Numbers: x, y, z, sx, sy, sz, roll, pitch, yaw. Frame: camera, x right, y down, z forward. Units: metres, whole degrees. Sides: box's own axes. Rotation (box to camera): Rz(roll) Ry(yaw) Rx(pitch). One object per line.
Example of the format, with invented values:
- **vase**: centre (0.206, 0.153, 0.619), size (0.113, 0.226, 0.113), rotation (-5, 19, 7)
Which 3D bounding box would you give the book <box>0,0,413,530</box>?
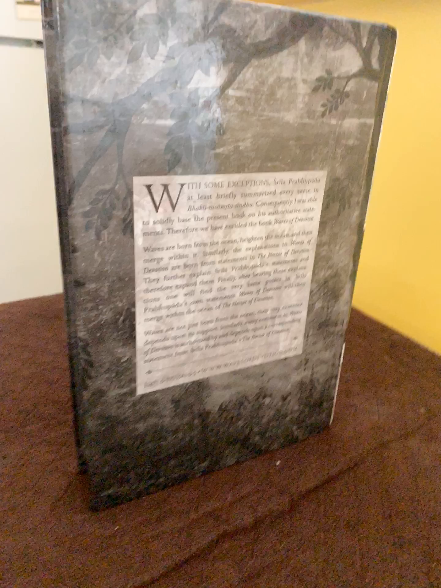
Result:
- **book**: centre (-0.006, -0.015, 0.218), size (0.160, 0.229, 0.040), rotation (-6, 23, -25)
